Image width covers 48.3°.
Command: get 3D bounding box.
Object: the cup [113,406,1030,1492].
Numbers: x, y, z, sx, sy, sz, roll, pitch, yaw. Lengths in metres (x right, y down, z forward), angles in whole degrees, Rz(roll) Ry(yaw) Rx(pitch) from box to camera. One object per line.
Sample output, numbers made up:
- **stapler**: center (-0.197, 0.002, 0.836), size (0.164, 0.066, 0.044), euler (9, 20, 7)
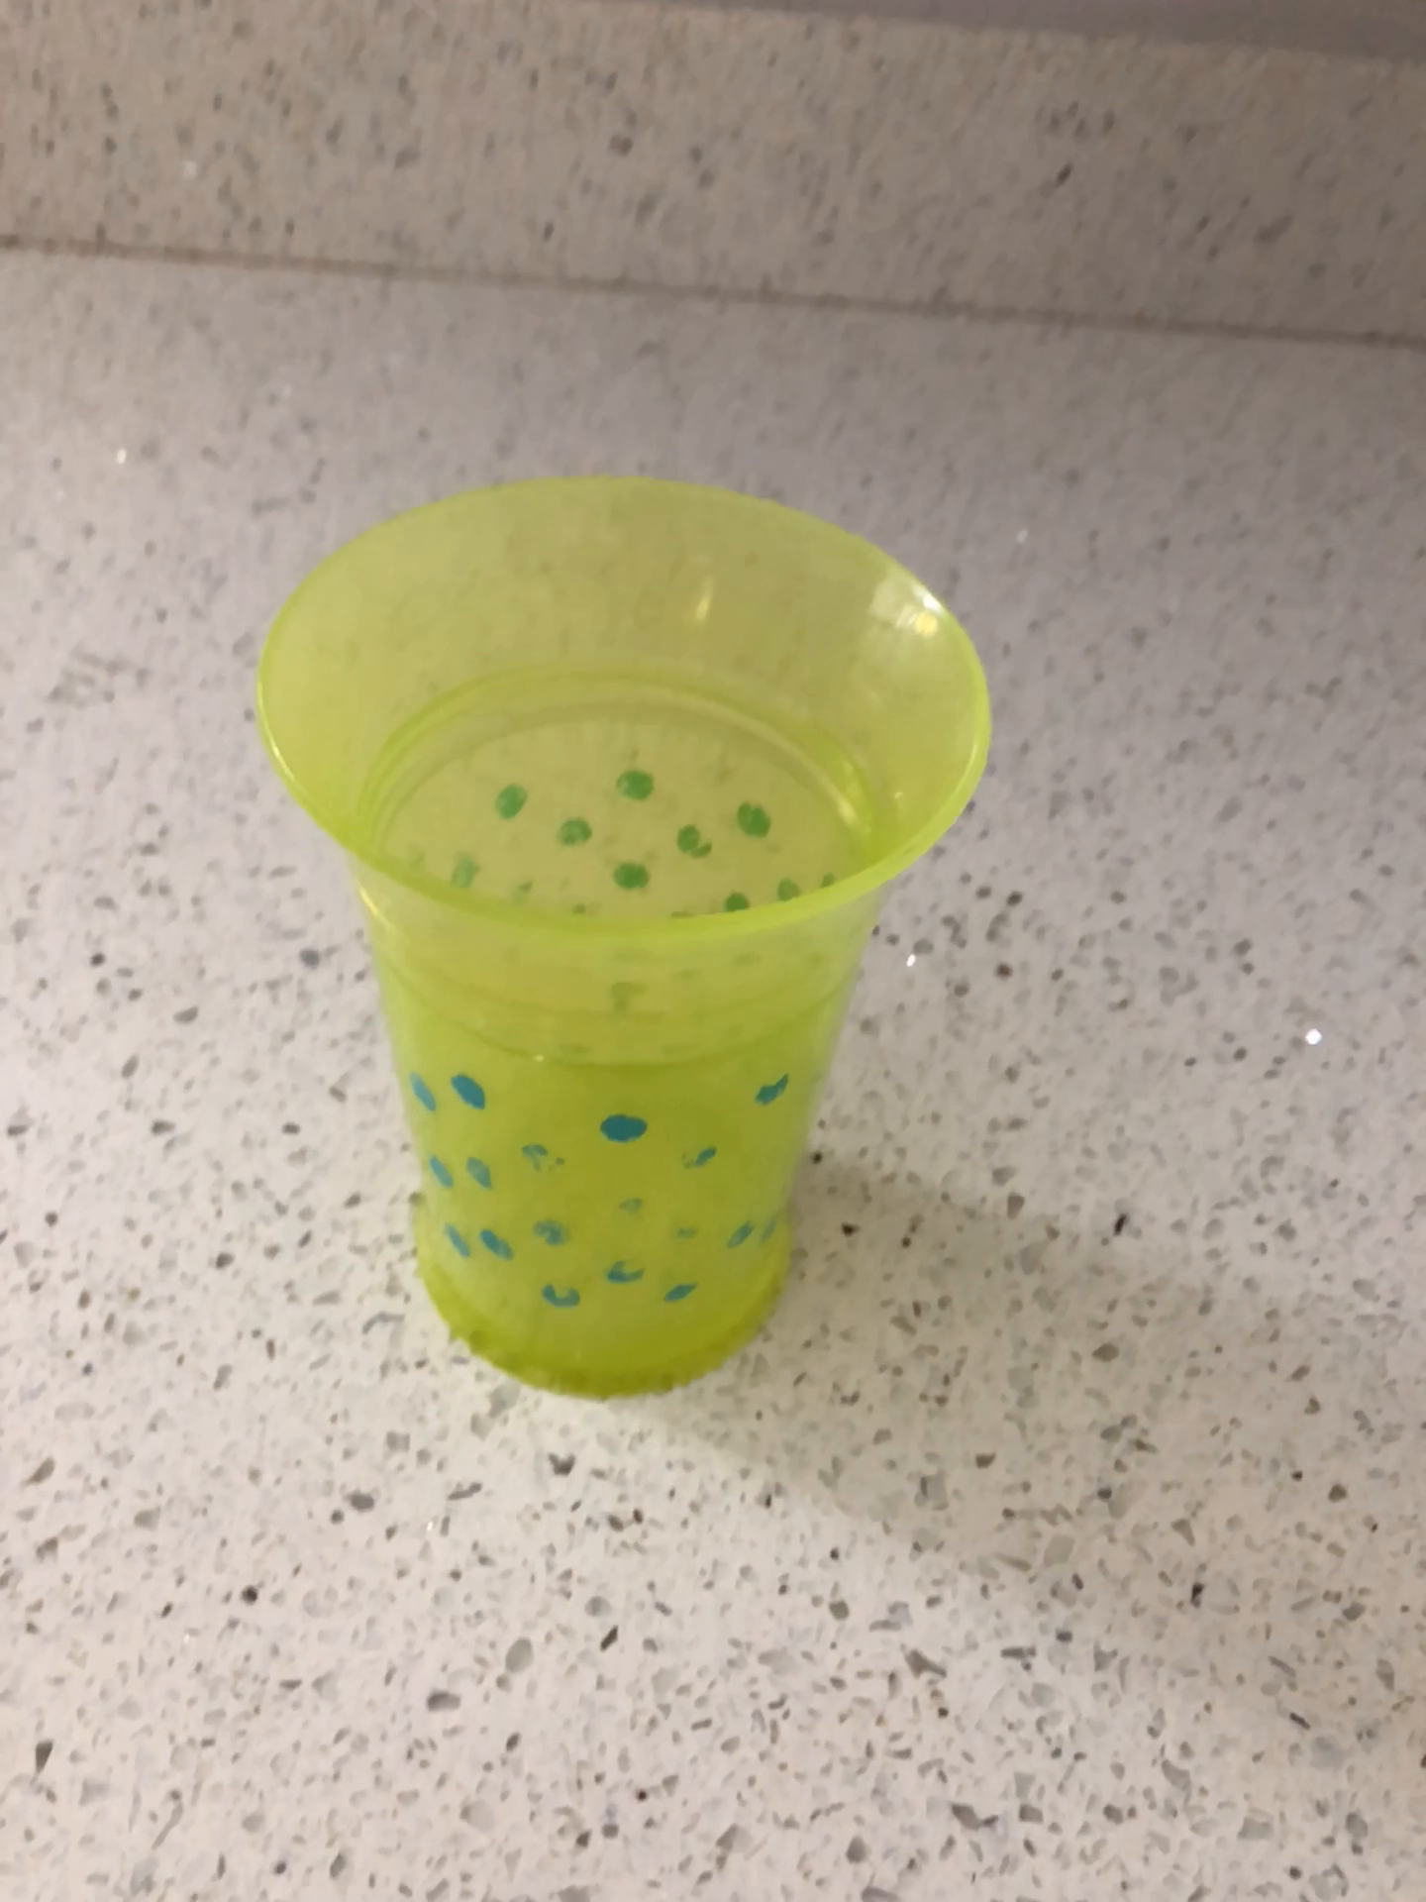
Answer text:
- **cup**: center (-0.015, 0.002, 0.216), size (0.078, 0.109, 0.073), euler (3, 46, -3)
